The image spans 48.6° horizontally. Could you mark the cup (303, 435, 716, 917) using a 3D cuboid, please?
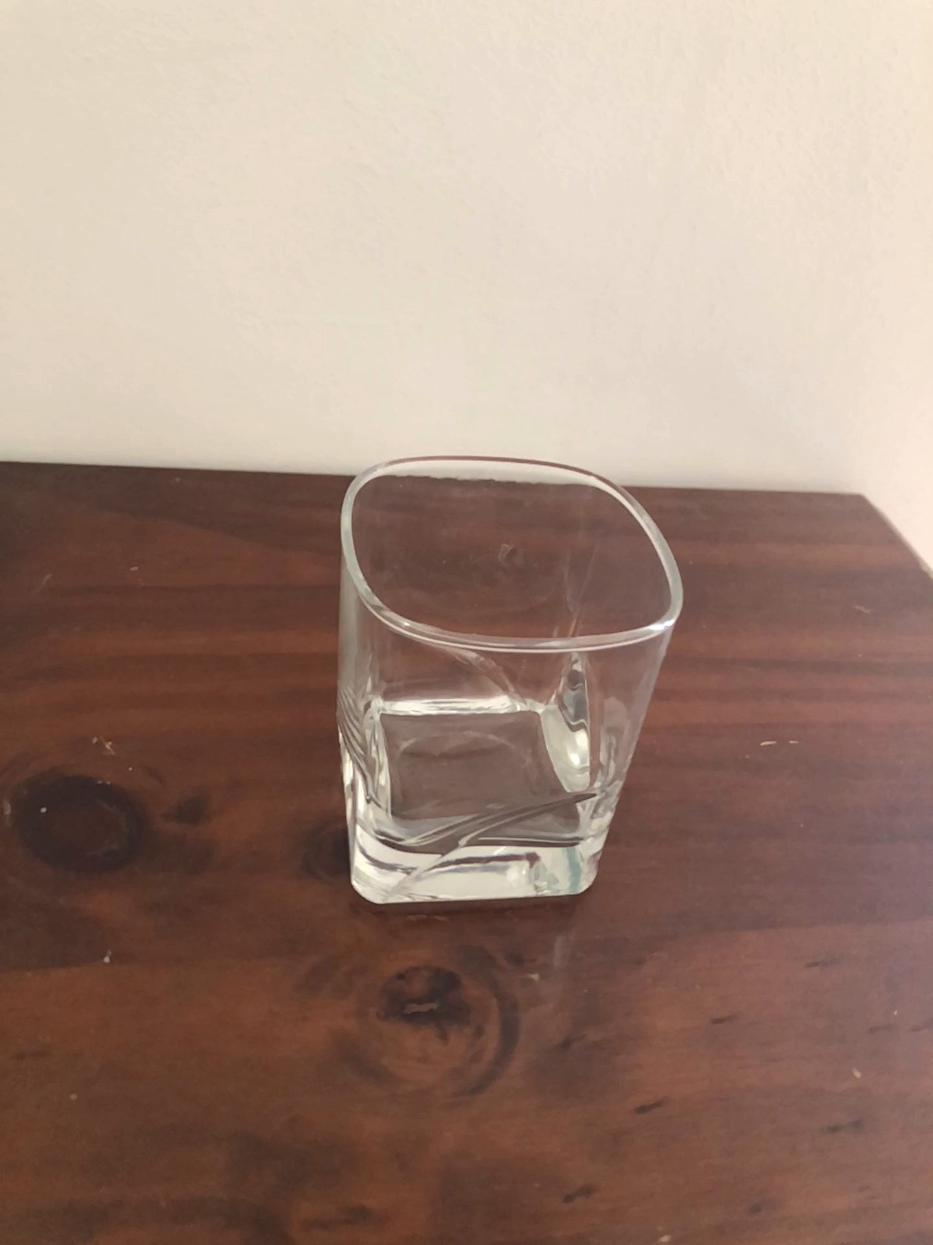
[{"bbox_3d":[0.001,0.012,0.257,0.078,0.087,0.076,6,35,-4],"label":"cup"}]
